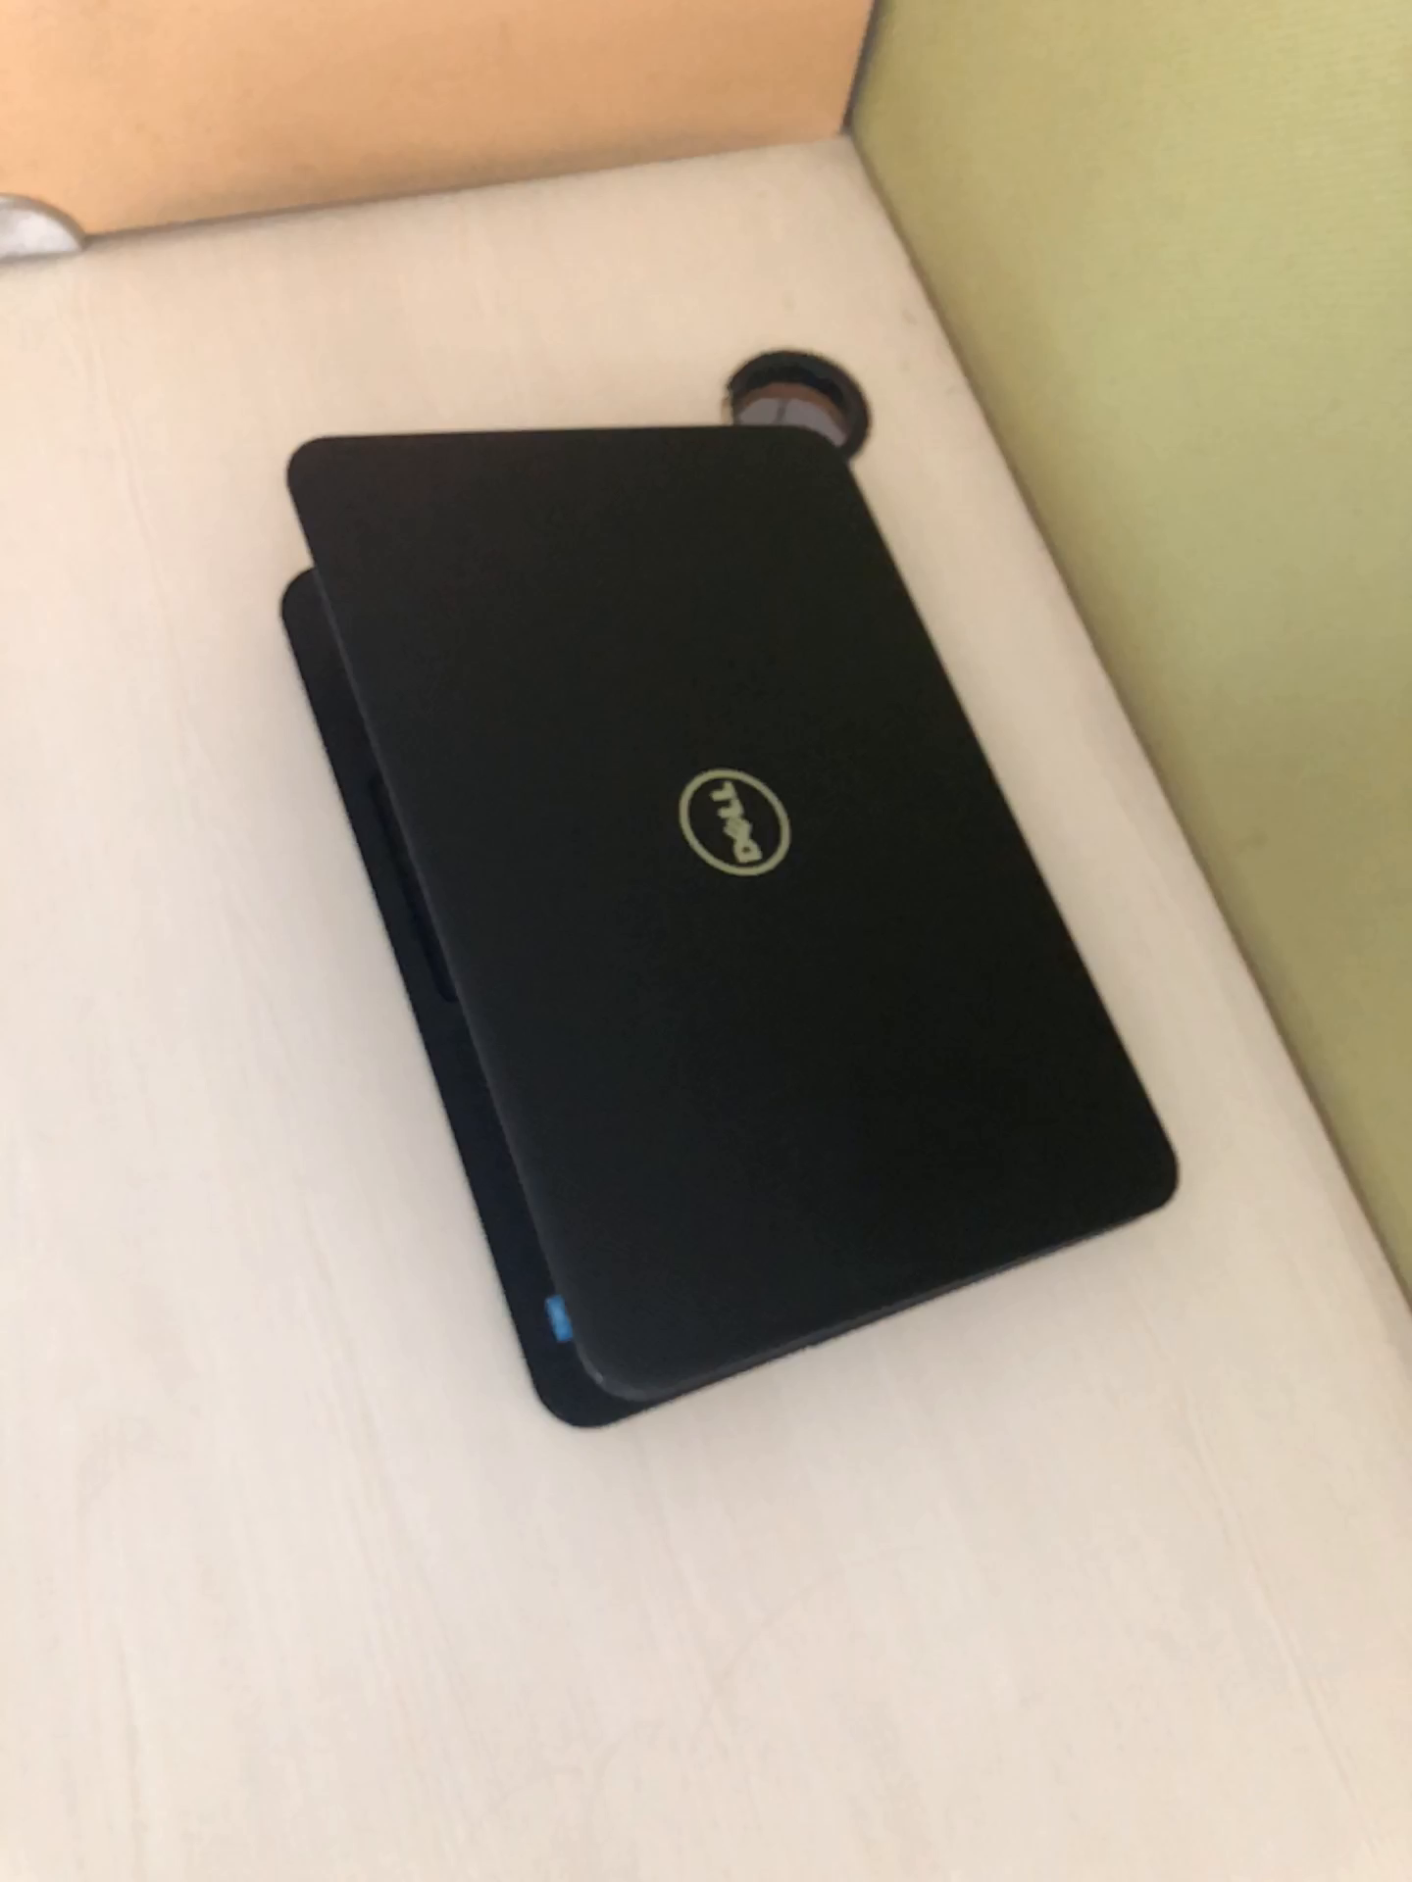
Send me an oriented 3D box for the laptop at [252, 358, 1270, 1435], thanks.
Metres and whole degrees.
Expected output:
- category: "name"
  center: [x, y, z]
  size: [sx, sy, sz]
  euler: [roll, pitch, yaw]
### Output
- category: "laptop"
  center: [0.006, -0.032, 0.589]
  size: [0.247, 0.079, 0.354]
  euler: [-17, 72, -14]
